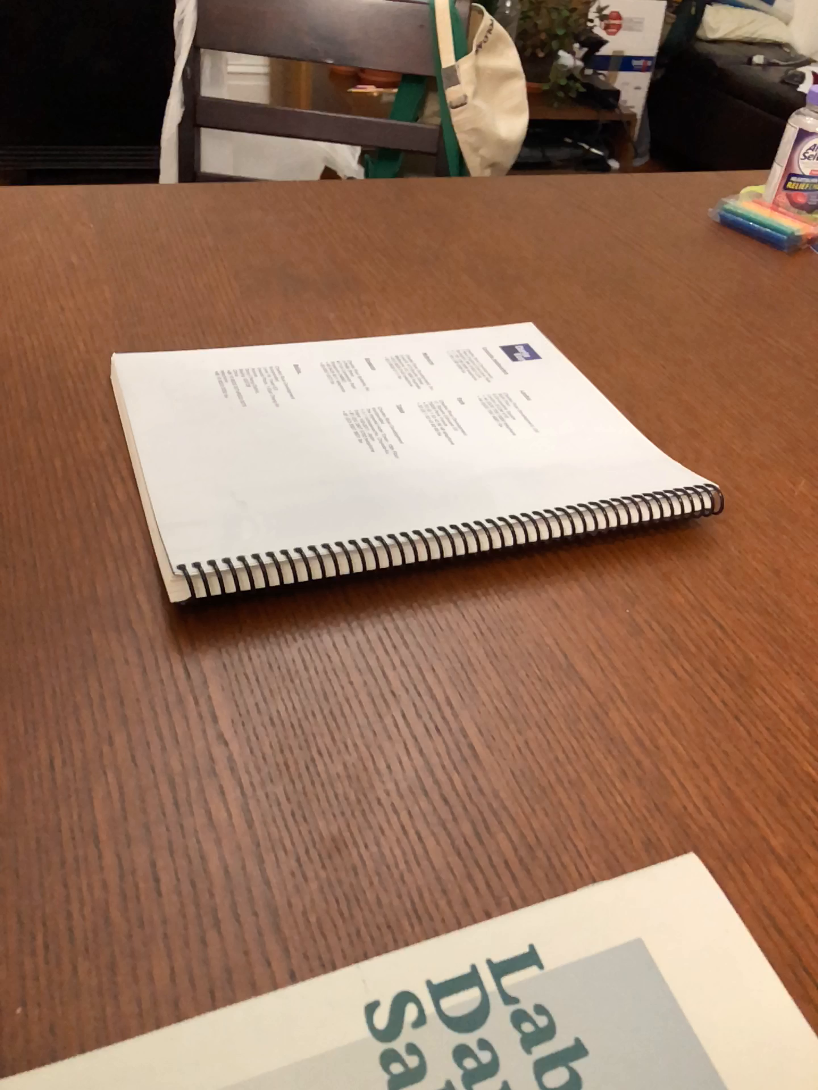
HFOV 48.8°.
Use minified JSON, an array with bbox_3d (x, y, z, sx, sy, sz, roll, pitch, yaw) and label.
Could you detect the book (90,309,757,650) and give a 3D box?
[{"bbox_3d":[-0.004,-0.060,0.496,0.300,0.020,0.231,-10,42,-20],"label":"book"}]
